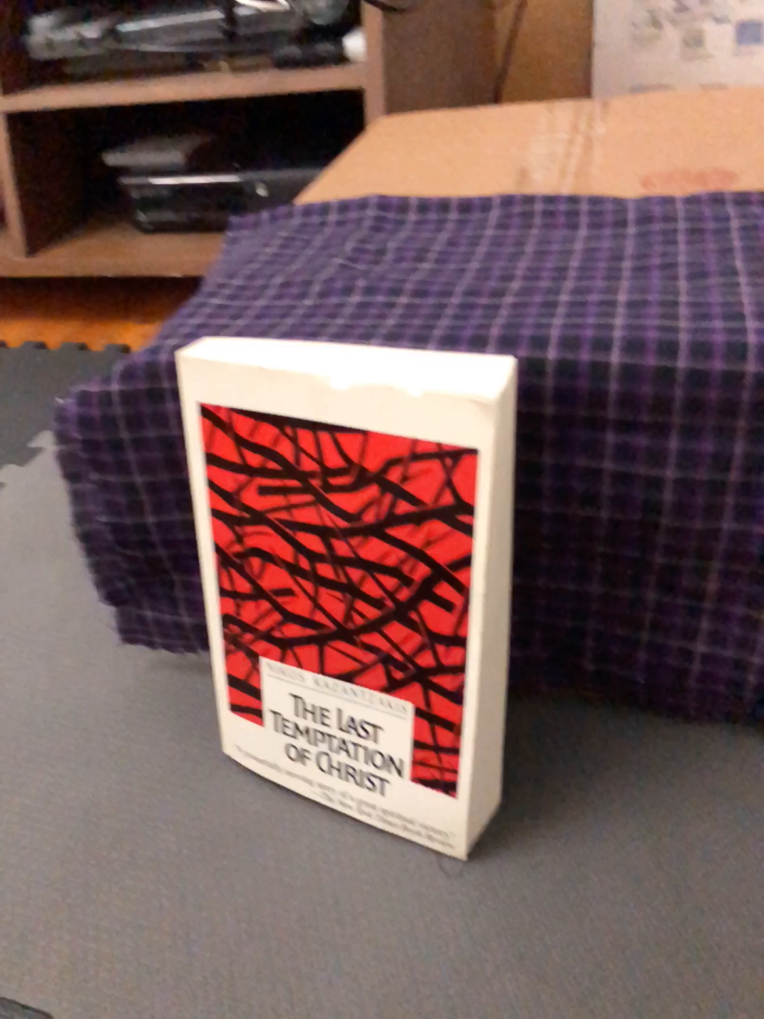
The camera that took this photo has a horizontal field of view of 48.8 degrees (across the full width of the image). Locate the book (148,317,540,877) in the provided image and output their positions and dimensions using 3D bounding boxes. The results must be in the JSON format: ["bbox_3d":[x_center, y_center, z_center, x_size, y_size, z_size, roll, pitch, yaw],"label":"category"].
[{"bbox_3d":[-0.013,0.032,0.364,0.150,0.209,0.050,13,30,33],"label":"book"}]
